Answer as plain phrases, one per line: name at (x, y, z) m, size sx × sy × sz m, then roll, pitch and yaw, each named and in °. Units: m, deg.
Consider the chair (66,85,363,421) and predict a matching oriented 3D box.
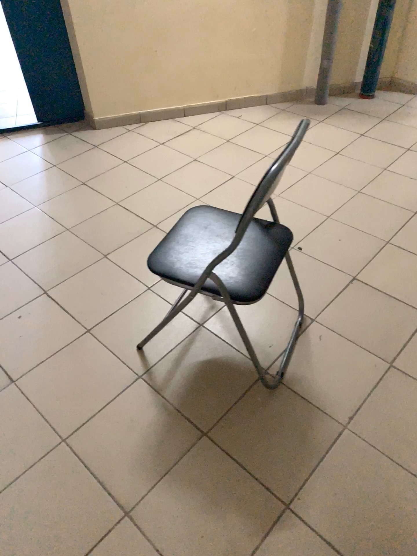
chair at (0.056, -0.092, 1.319) m, size 0.561 × 0.727 × 0.572 m, roll 17°, pitch 46°, yaw 20°
